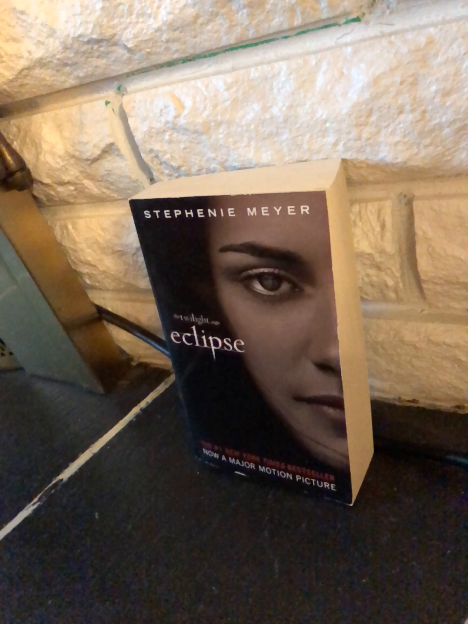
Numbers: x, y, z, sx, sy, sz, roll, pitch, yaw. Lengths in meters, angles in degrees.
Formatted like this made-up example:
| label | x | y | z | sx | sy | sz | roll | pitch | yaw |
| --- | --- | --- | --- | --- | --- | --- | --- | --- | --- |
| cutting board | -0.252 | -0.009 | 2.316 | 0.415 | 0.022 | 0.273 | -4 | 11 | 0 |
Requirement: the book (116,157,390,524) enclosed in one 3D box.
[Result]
| label | x | y | z | sx | sy | sz | roll | pitch | yaw |
| --- | --- | --- | --- | --- | --- | --- | --- | --- | --- |
| book | 0.016 | 0.018 | 0.278 | 0.106 | 0.181 | 0.042 | 6 | 33 | 36 |
